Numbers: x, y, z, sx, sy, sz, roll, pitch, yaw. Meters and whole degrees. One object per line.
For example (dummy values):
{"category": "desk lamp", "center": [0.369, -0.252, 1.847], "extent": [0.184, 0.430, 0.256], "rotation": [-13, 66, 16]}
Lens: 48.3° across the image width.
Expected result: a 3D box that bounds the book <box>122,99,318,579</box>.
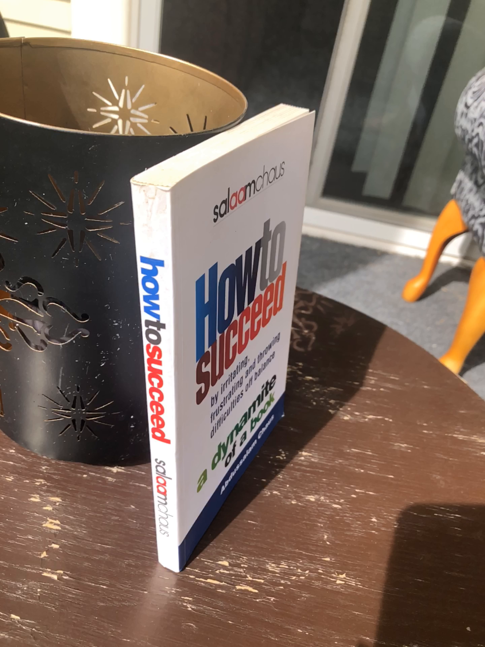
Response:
{"category": "book", "center": [-0.005, 0.008, 0.277], "extent": [0.018, 0.207, 0.139], "rotation": [17, 35, 20]}
